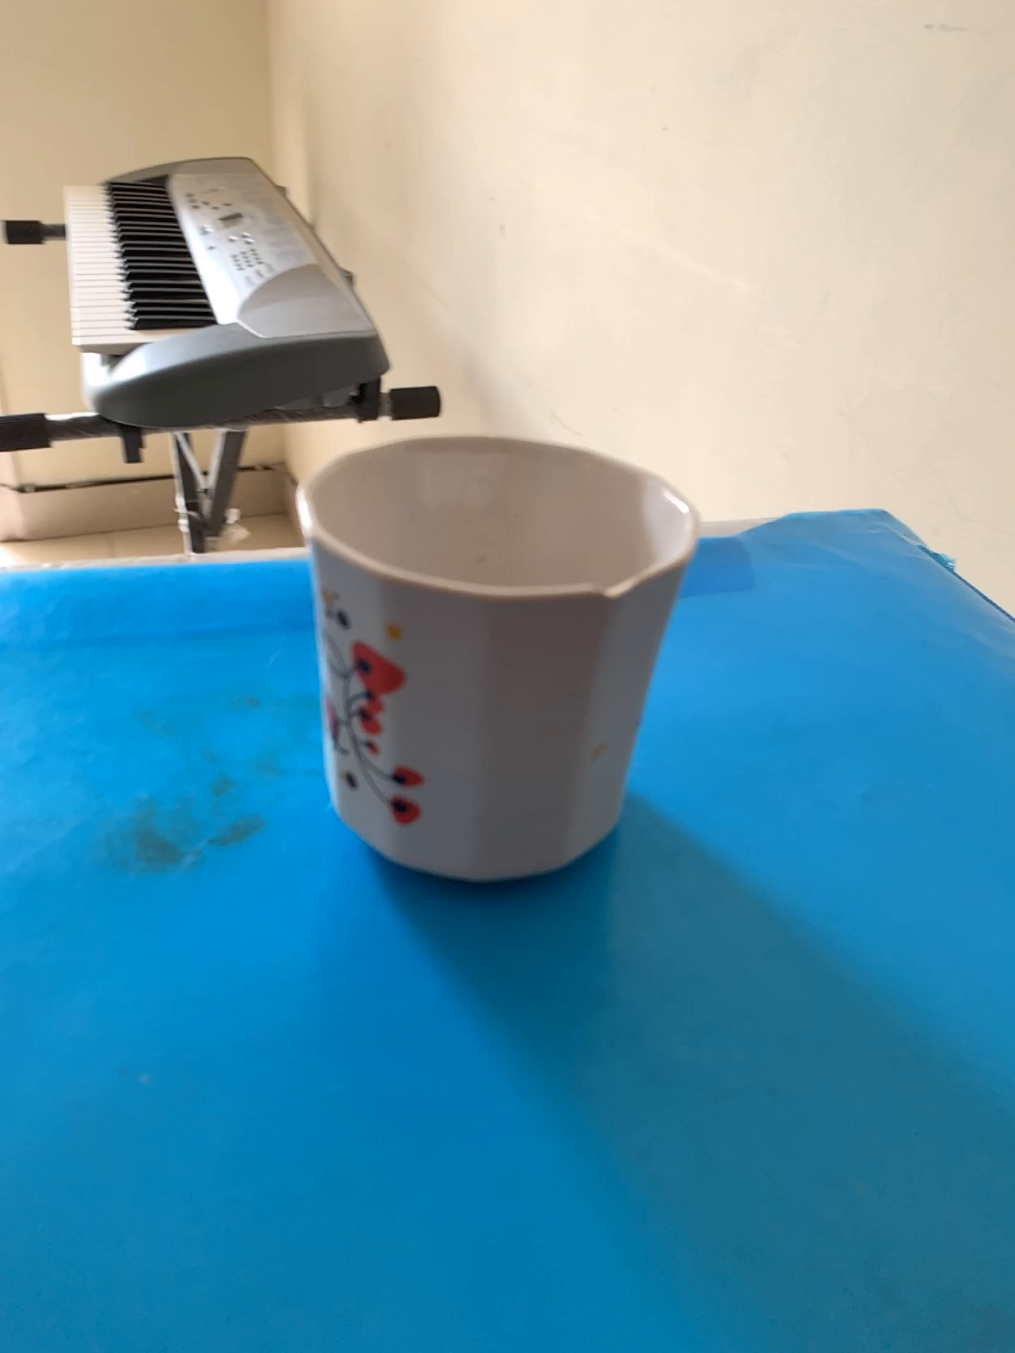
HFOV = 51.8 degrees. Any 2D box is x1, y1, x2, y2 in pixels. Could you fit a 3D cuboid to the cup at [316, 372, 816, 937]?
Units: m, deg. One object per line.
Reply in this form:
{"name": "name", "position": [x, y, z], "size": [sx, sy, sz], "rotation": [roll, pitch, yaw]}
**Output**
{"name": "cup", "position": [0.000, -0.011, 0.201], "size": [0.070, 0.059, 0.101], "rotation": [0, 35, -9]}
